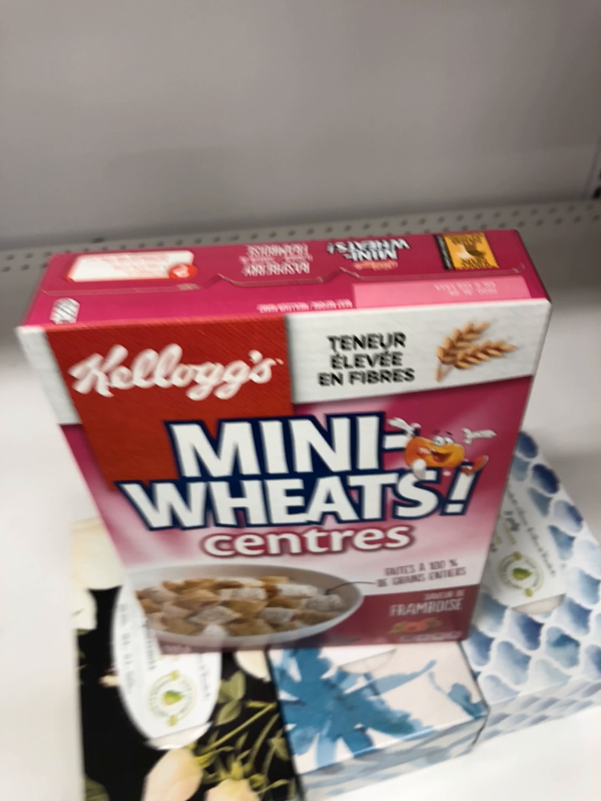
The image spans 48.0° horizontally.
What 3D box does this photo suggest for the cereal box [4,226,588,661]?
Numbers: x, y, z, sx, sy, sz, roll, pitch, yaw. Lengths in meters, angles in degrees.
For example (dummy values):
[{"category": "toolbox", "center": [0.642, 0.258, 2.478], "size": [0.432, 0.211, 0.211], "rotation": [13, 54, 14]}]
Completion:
[{"category": "cereal box", "center": [0.004, 0.048, 0.354], "size": [0.210, 0.269, 0.050], "rotation": [-3, 44, 1]}]
